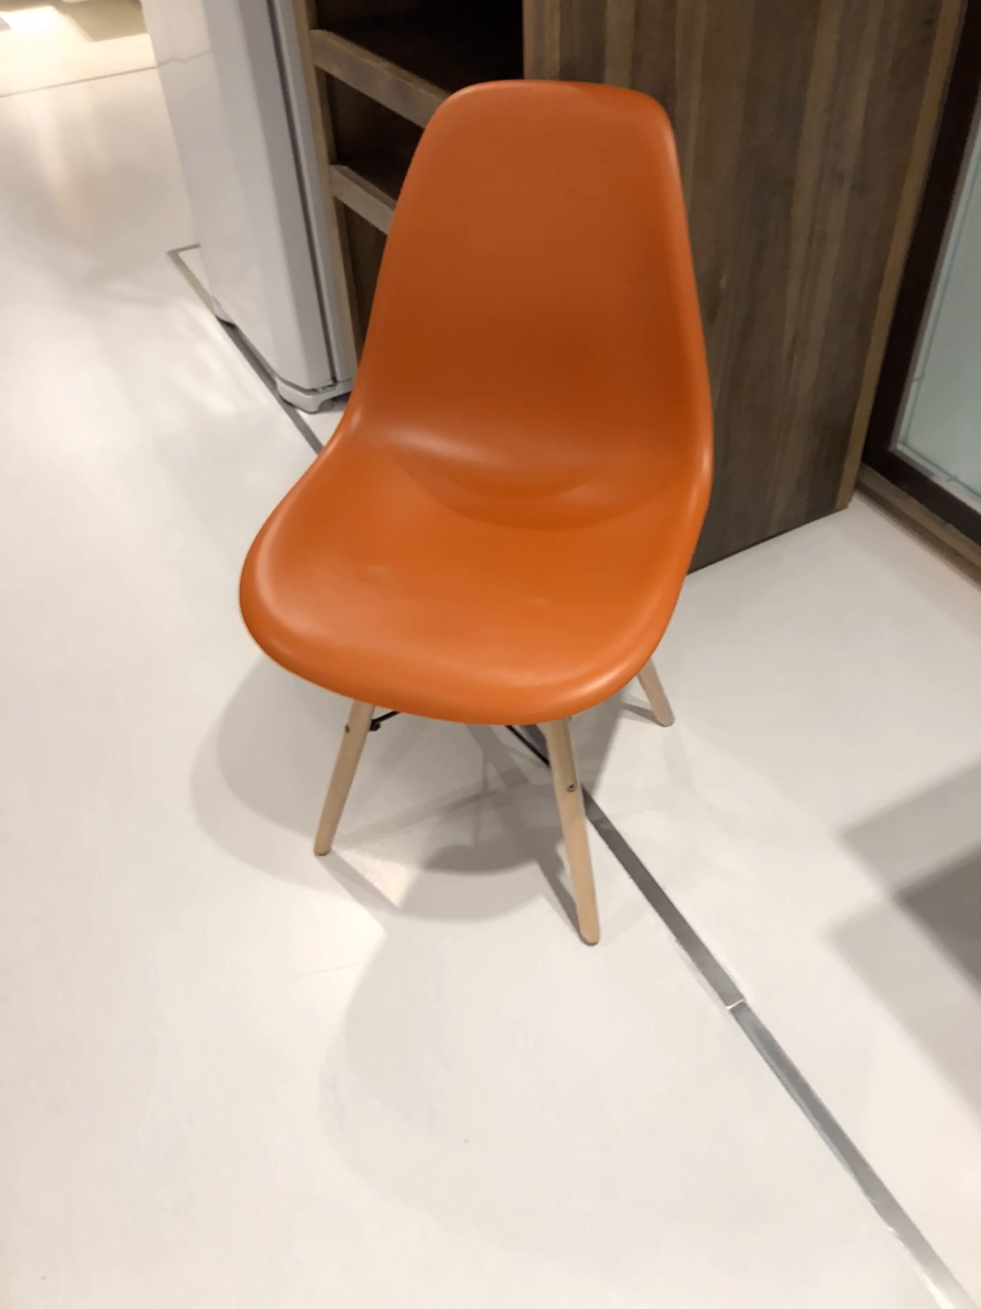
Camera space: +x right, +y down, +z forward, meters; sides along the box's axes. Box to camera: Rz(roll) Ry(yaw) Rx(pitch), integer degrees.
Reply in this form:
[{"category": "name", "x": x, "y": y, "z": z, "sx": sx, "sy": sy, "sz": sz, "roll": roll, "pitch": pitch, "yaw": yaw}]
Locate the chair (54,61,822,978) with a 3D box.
[{"category": "chair", "x": 0.011, "y": -0.154, "z": 1.215, "sx": 0.490, "sy": 0.745, "sz": 0.584, "roll": 14, "pitch": 47, "yaw": 17}]
